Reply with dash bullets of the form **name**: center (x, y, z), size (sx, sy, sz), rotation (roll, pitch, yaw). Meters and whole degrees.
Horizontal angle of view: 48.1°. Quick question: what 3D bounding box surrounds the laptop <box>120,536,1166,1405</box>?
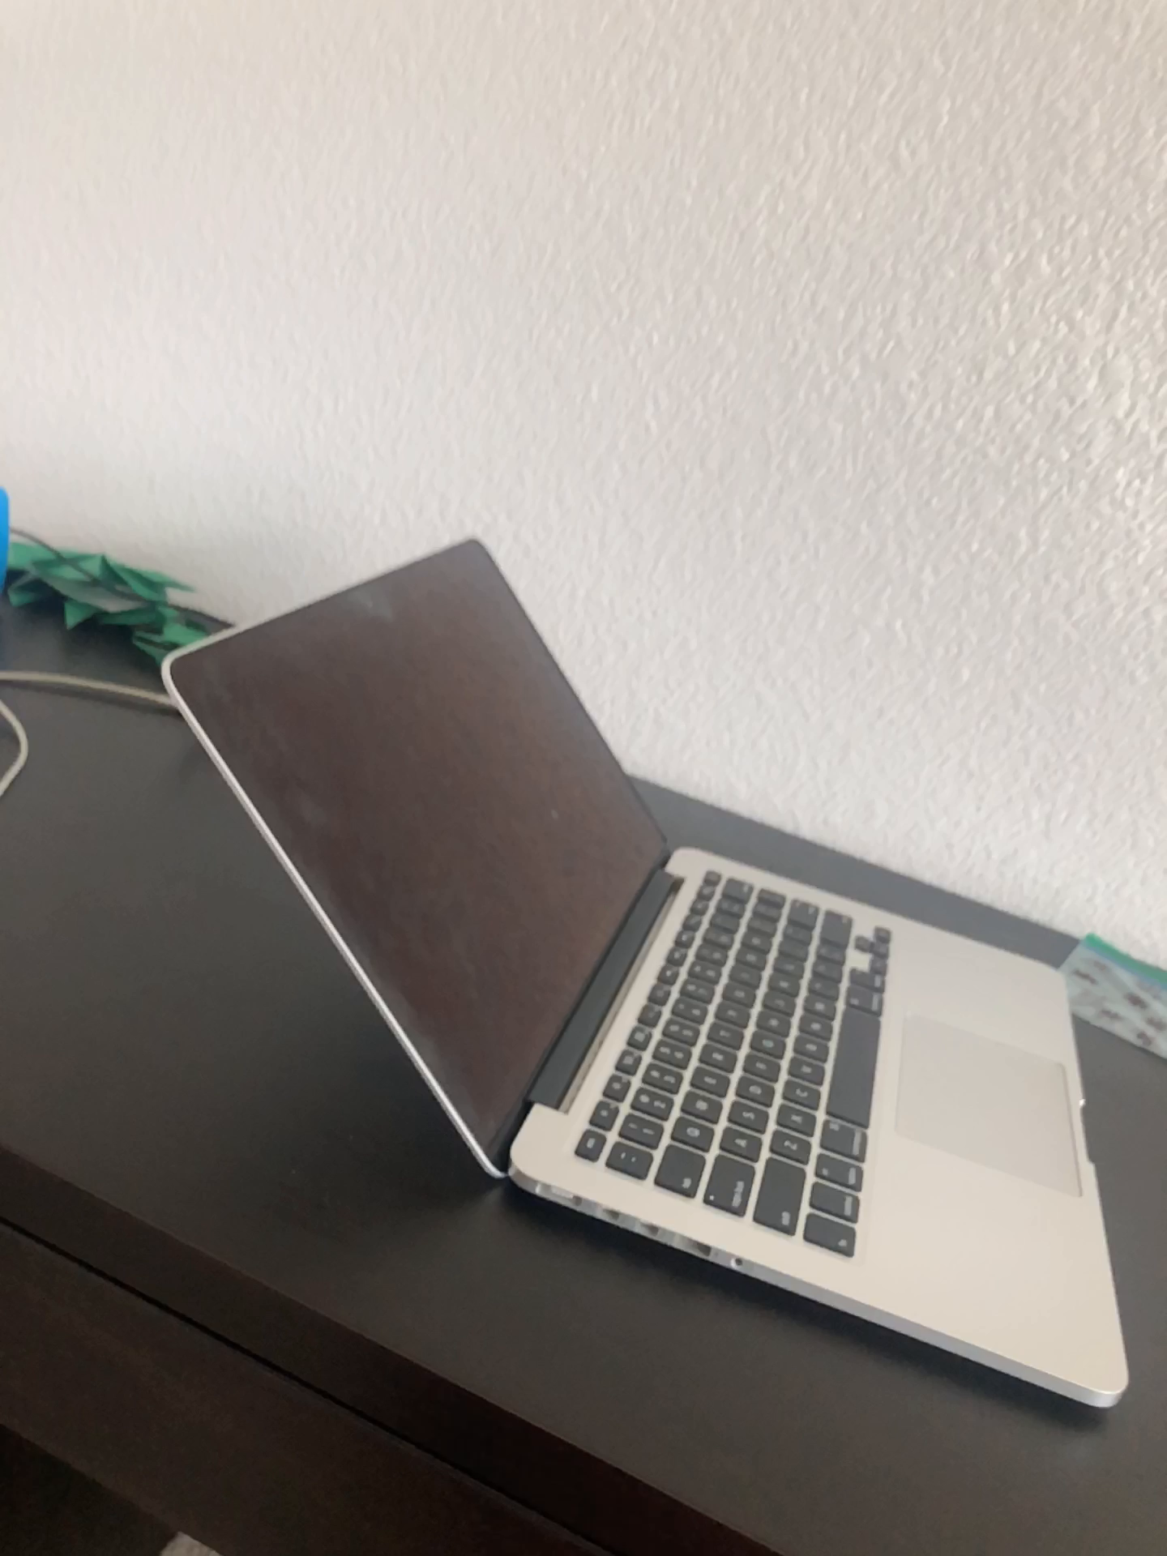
- **laptop**: center (0.055, 0.032, 0.561), size (0.362, 0.133, 0.310), rotation (18, 22, 11)
